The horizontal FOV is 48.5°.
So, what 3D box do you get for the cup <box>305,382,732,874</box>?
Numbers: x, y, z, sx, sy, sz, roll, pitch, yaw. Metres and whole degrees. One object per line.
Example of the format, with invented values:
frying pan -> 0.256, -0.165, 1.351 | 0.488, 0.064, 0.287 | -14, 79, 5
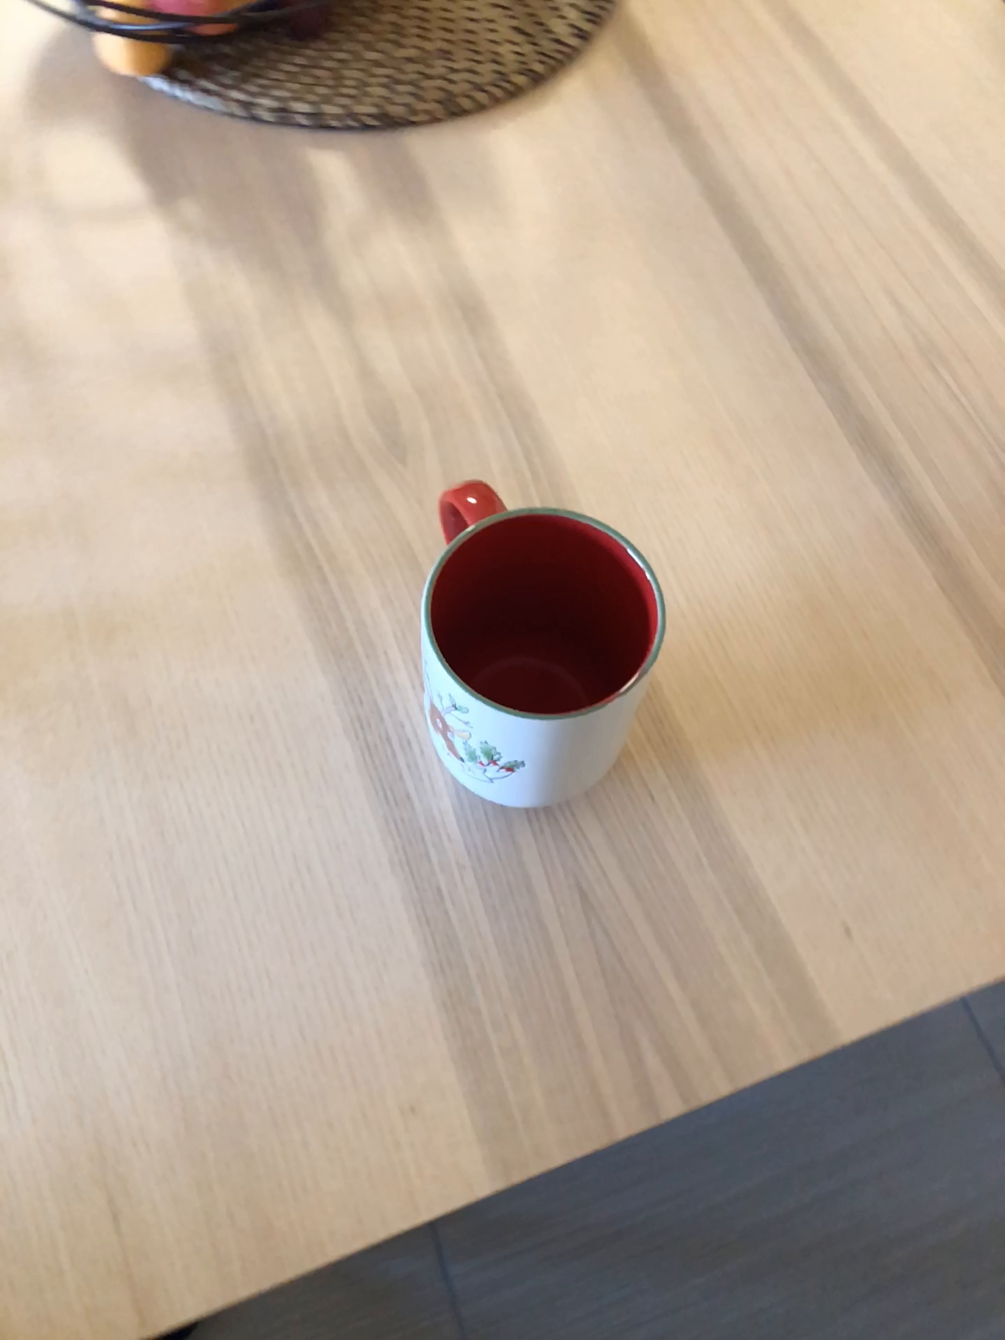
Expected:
cup -> 0.001, -0.015, 0.445 | 0.100, 0.100, 0.140 | -24, 68, -14
